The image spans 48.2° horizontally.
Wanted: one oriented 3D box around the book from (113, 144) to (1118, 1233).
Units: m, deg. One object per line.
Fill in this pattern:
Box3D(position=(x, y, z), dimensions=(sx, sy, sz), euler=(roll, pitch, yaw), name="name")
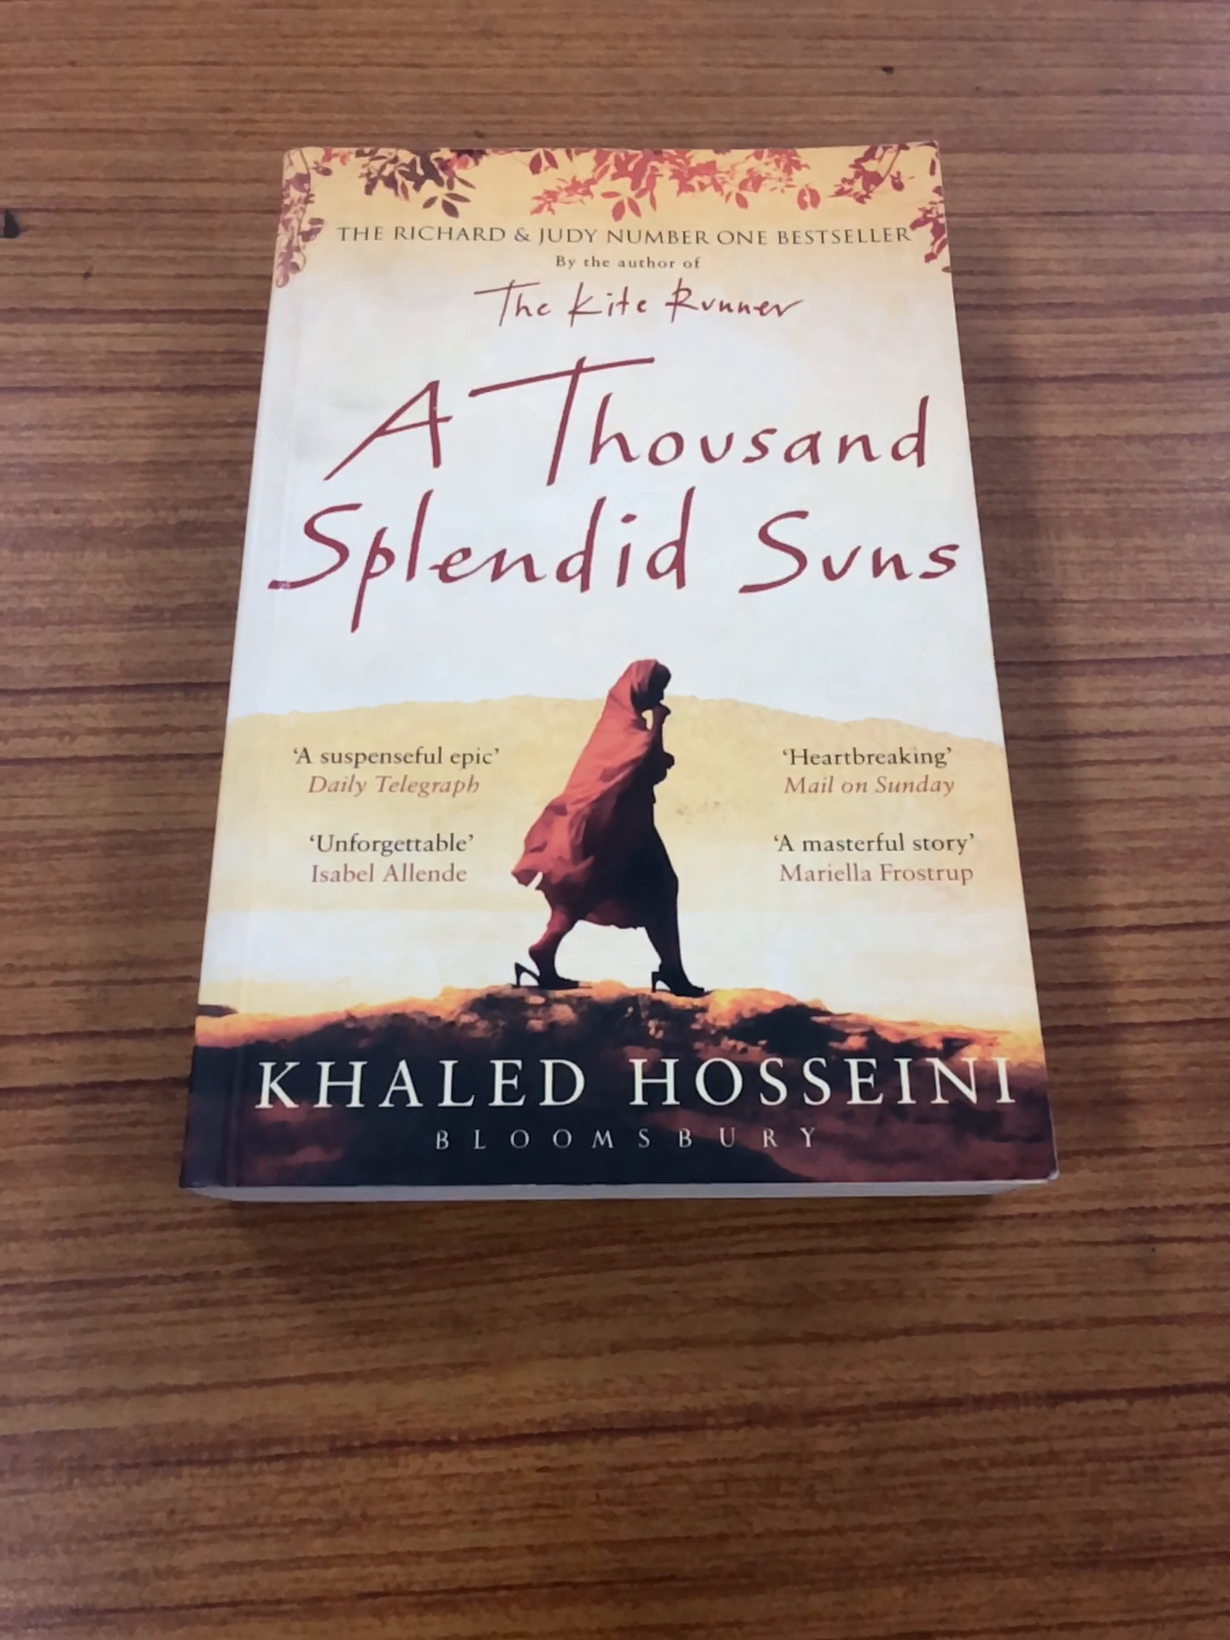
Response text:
Box3D(position=(-0.001, -0.029, 0.237), dimensions=(0.140, 0.030, 0.190), euler=(0, 70, -2), name="book")
